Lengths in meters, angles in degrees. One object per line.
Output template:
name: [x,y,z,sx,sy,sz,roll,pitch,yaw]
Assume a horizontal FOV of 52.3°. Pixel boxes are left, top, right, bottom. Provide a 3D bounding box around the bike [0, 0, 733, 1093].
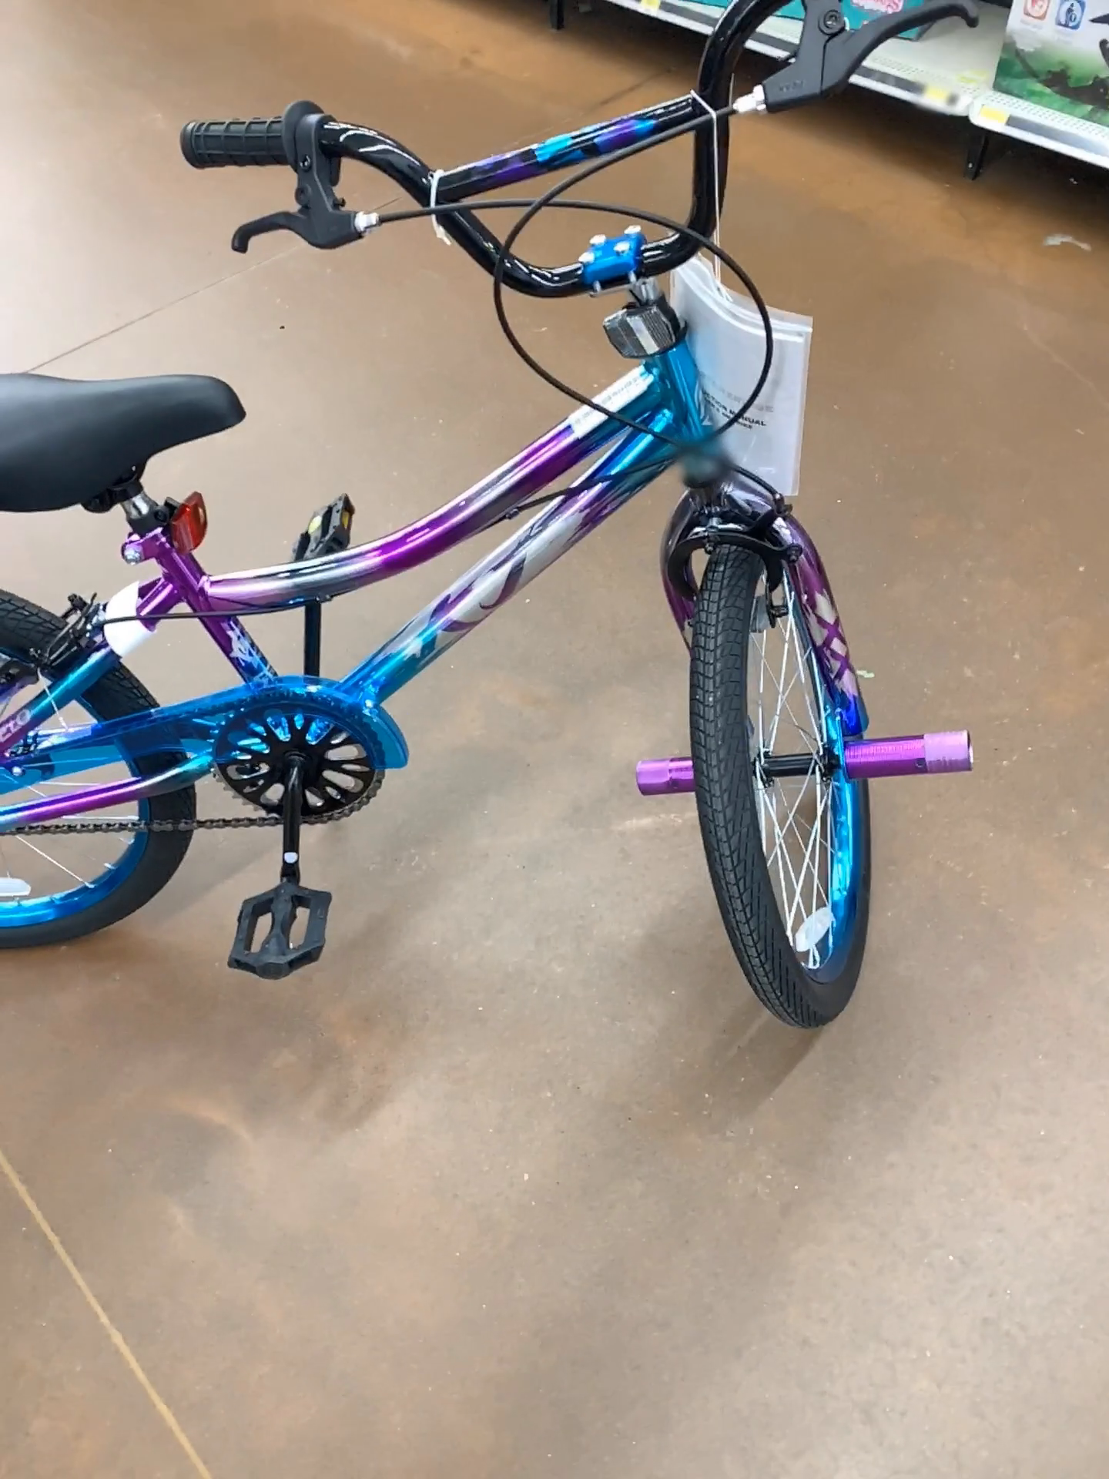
bike: [-0.384,-0.183,0.942,0.933,0.931,0.580,-1,51,0]
